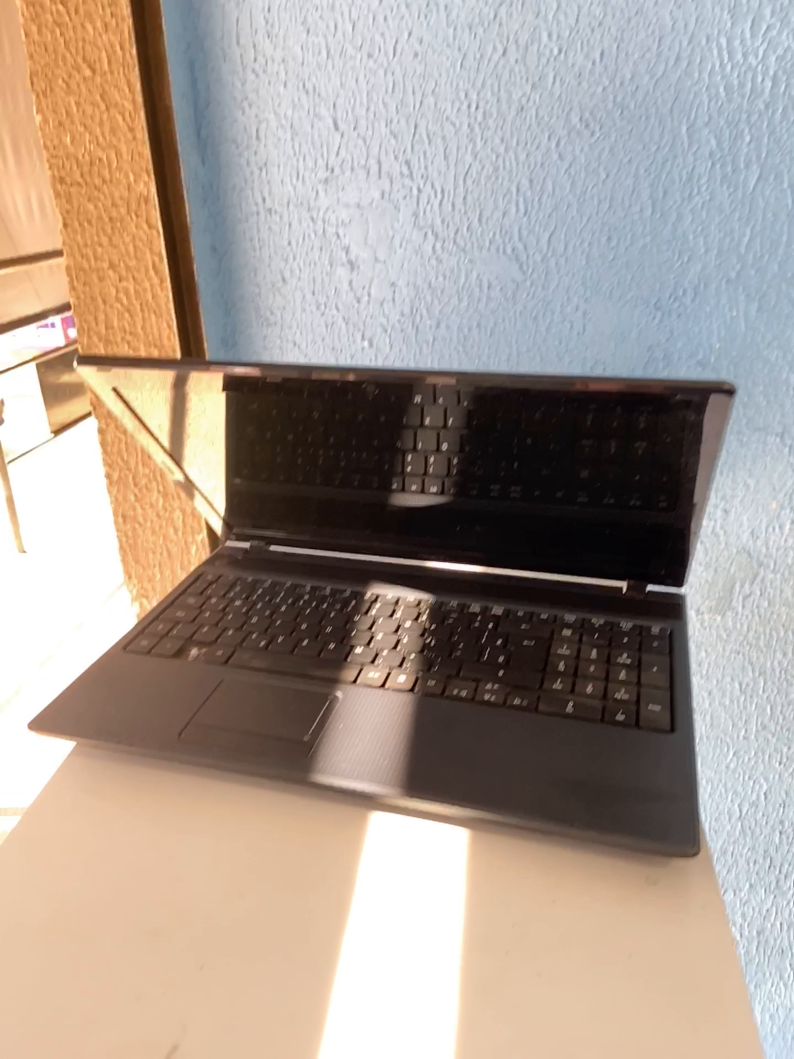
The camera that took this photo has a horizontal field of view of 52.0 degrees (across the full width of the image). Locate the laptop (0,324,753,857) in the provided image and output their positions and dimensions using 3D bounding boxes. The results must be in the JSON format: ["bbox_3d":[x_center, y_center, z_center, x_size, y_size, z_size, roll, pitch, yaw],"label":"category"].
[{"bbox_3d":[-0.008,-0.002,0.504,0.376,0.191,0.249,5,25,16],"label":"laptop"}]
